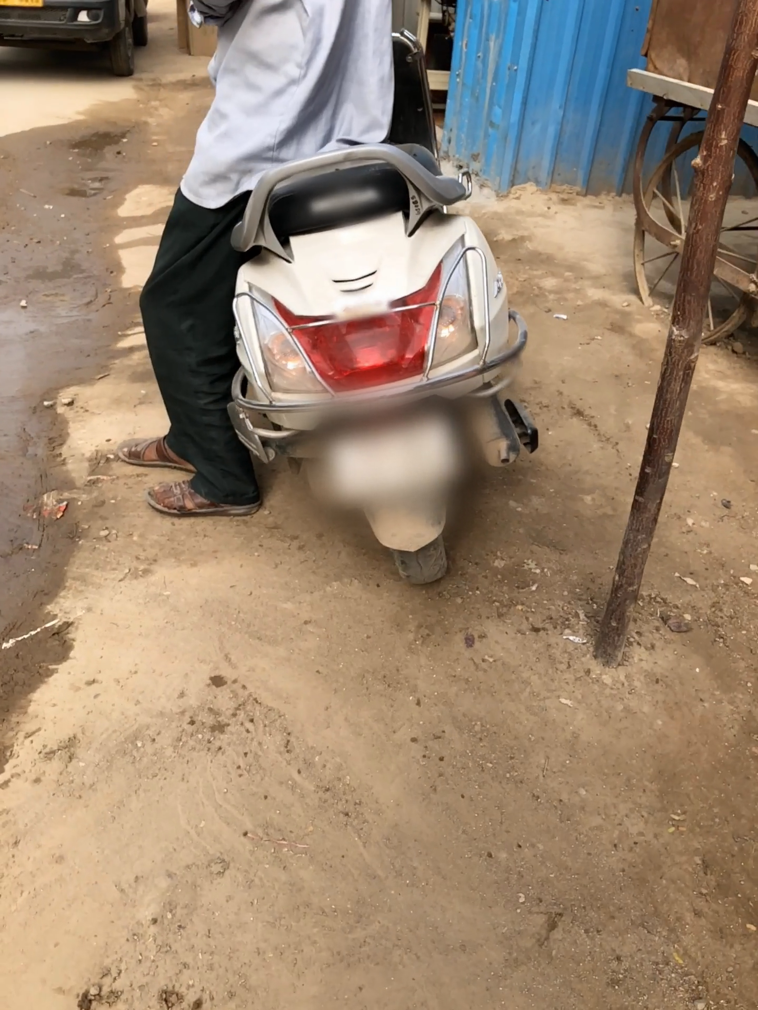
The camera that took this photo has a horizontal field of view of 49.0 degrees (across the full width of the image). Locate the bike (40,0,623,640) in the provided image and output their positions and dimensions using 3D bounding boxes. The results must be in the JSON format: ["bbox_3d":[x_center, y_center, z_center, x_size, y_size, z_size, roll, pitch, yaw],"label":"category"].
[{"bbox_3d":[-0.185,-0.637,1.908,0.656,1.112,1.585,-1,33,-8],"label":"bike"}]
